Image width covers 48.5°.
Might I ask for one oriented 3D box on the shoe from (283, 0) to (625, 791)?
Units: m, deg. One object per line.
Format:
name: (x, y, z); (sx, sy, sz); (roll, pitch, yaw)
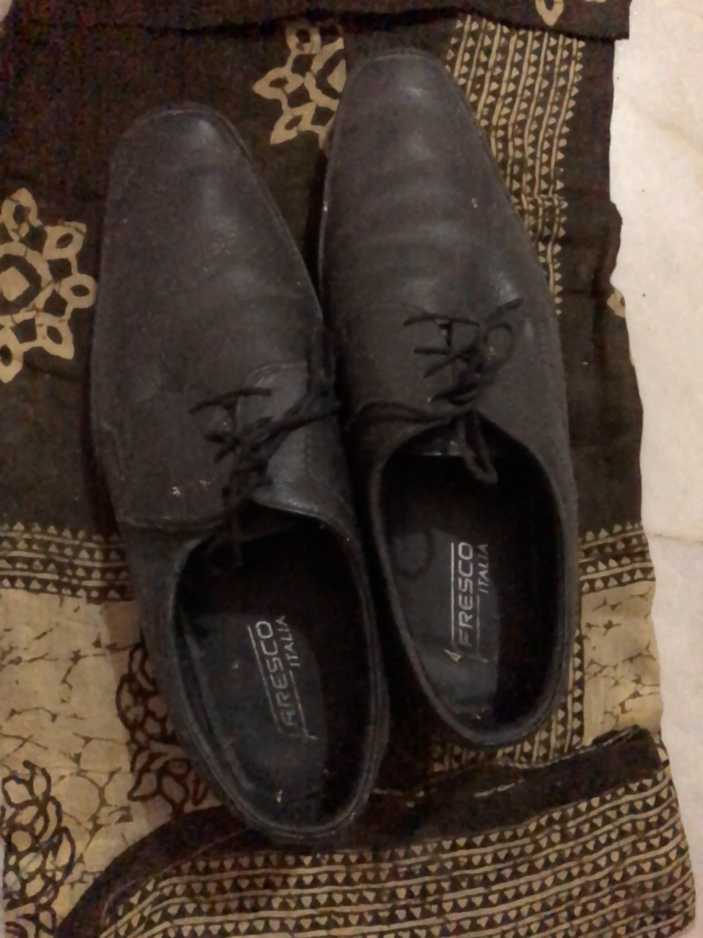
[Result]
shoe: (0.038, -0.043, 0.363); (0.110, 0.070, 0.340); (-5, 85, -6)

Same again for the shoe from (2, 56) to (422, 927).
shoe: (-0.062, 0.002, 0.352); (0.110, 0.070, 0.340); (-11, 86, -7)
